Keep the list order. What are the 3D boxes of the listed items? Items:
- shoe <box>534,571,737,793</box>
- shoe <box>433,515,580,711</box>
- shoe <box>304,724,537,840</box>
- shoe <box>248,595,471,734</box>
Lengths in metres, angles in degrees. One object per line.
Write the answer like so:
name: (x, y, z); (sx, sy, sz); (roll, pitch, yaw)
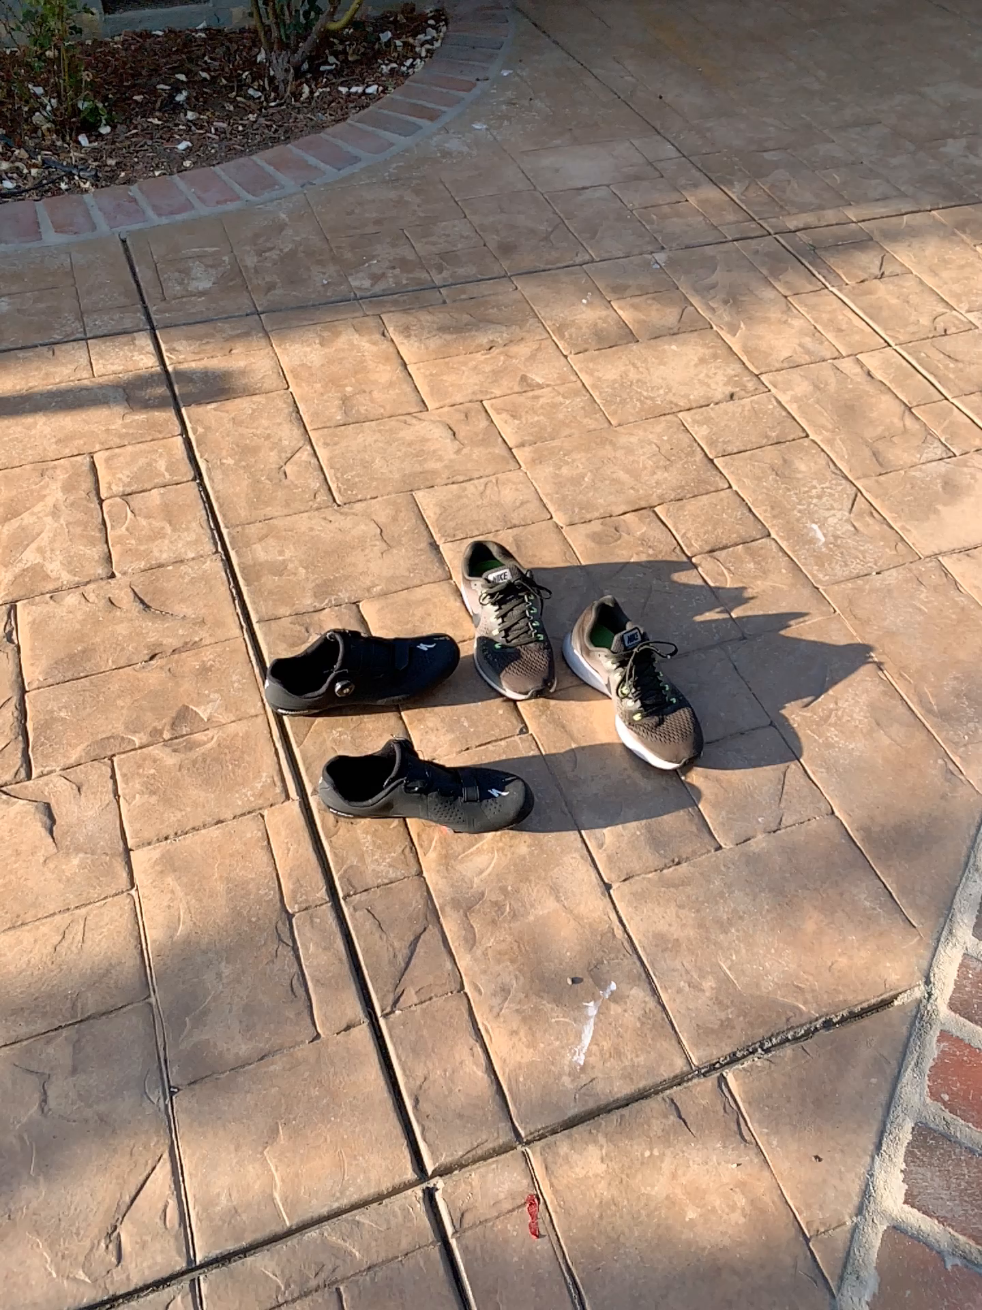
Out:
shoe: (0.195, 0.031, 1.422); (0.130, 0.109, 0.291); (-22, 53, -20)
shoe: (0.015, -0.069, 1.487); (0.130, 0.090, 0.291); (-12, 50, -12)
shoe: (-0.086, 0.161, 1.285); (0.280, 0.050, 0.111); (6, 49, 3)
shoe: (-0.182, 0.010, 1.394); (0.280, 0.050, 0.131); (-14, 51, -13)
